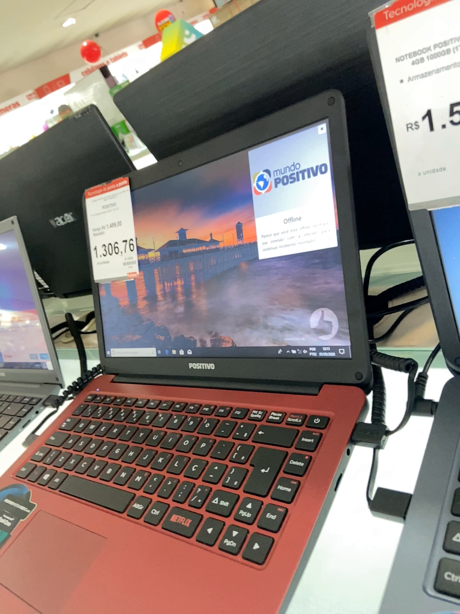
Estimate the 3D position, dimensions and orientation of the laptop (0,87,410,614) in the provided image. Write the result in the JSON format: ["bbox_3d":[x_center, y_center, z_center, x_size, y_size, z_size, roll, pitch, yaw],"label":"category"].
[{"bbox_3d":[-0.091,0.030,0.360,0.321,0.167,0.334,-6,34,41],"label":"laptop"}]
